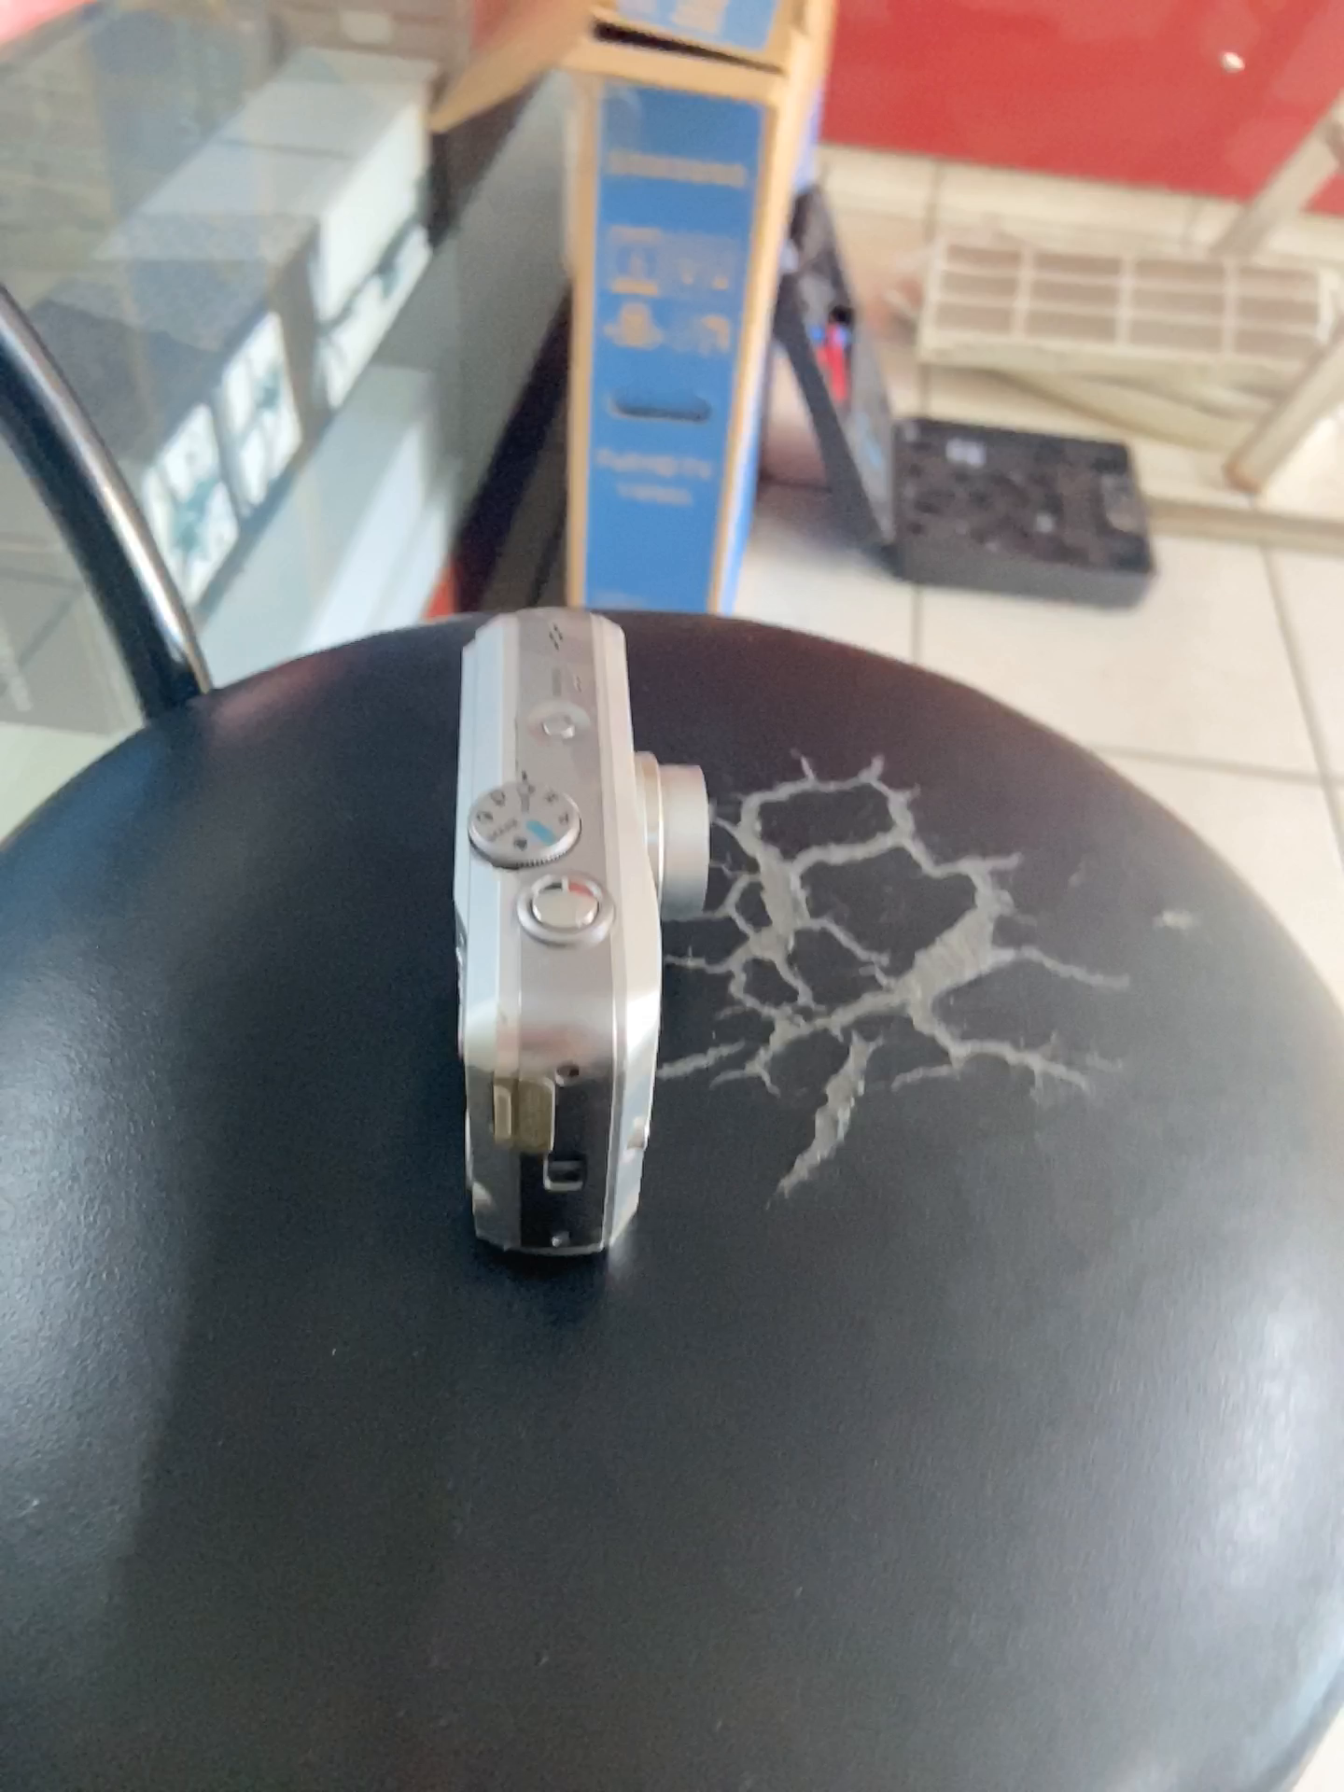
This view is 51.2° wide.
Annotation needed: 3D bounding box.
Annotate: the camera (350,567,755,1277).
[{"bbox_3d":[-0.020,0.001,0.229,0.050,0.060,0.101,1,47,-6],"label":"camera"}]
